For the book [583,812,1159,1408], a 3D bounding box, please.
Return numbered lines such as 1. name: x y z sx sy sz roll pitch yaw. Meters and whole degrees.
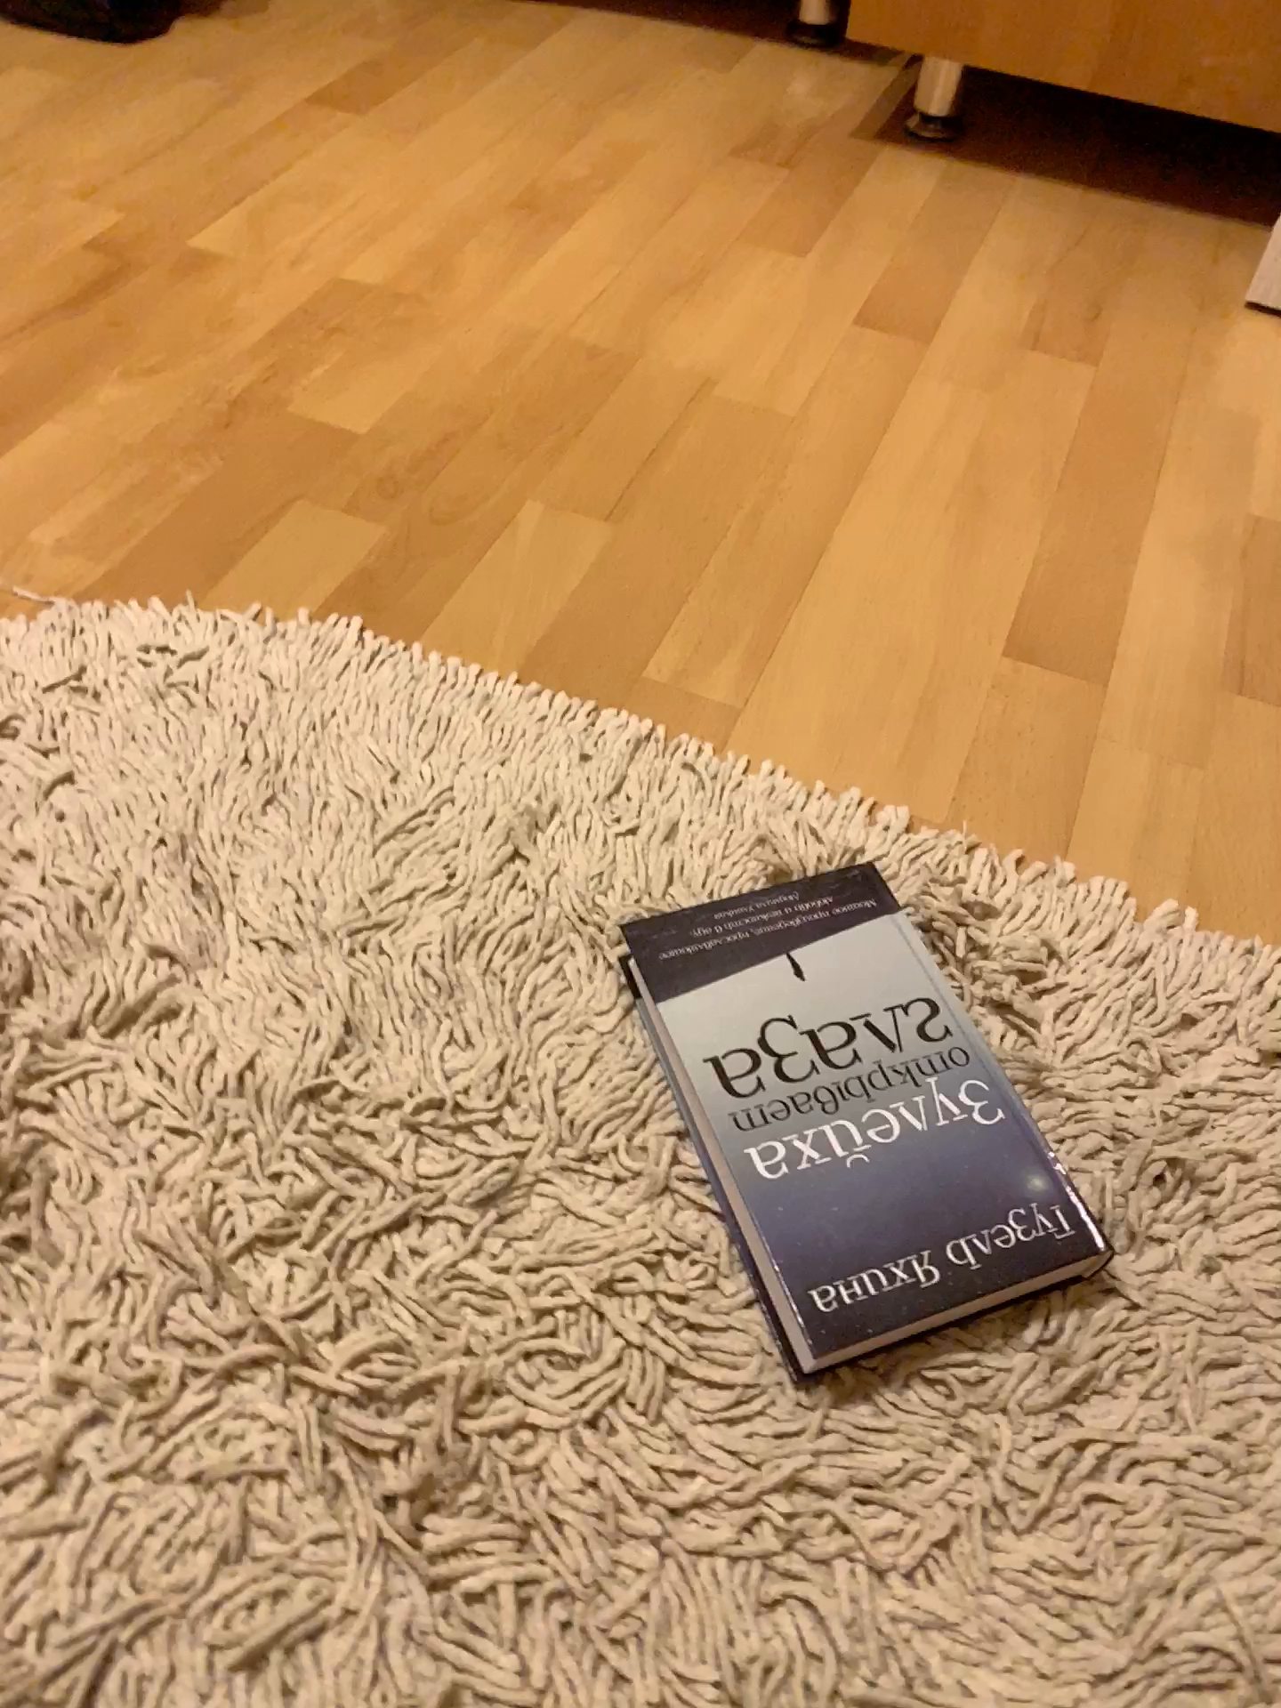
1. book: 0.083 0.091 0.548 0.150 0.040 0.221 -14 52 -15
